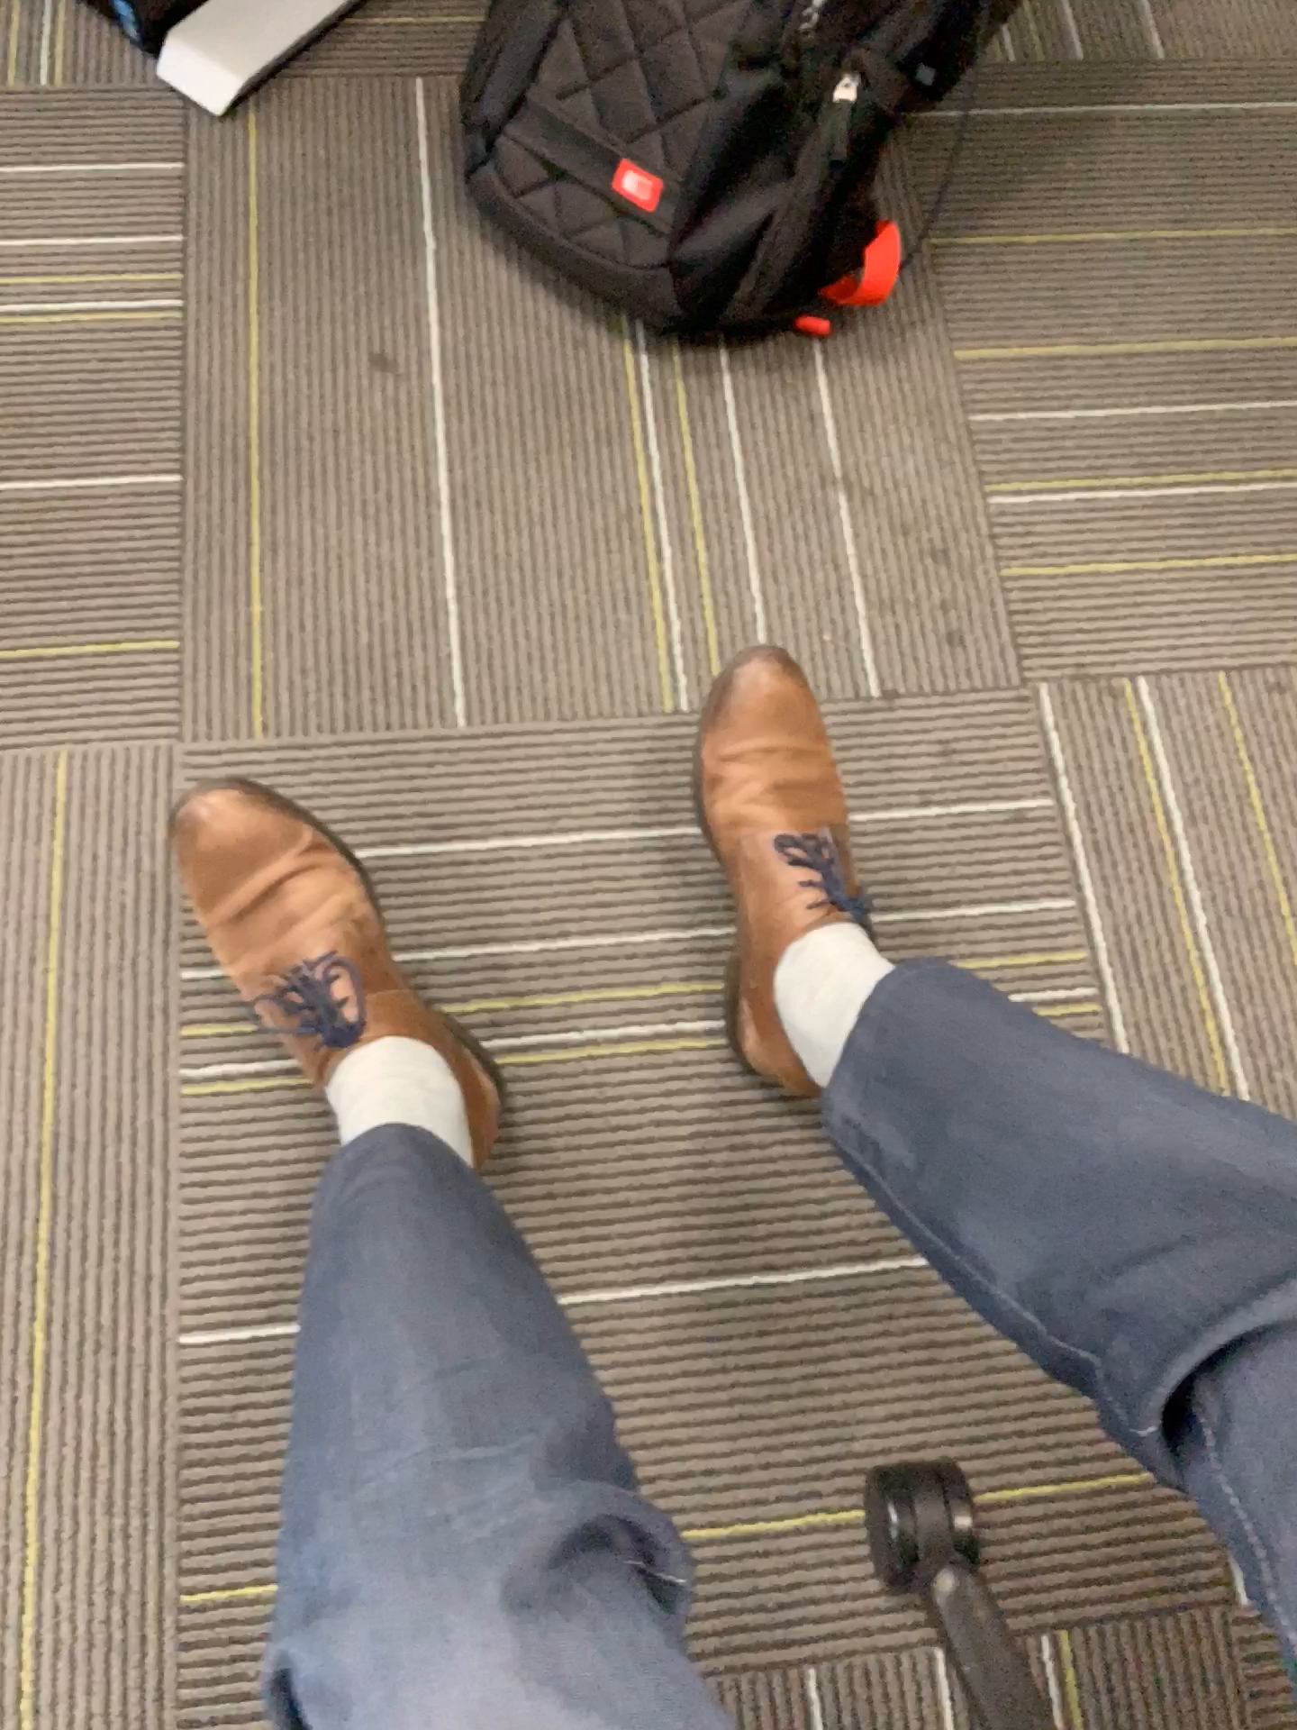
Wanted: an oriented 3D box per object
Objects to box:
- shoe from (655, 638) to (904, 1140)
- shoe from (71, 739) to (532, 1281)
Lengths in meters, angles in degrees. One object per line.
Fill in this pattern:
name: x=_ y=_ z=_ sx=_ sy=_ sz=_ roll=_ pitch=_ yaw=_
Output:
shoe: x=0.078 y=0.011 z=0.803 sx=0.103 sy=0.074 sz=0.281 roll=-5 pitch=90 yaw=-27
shoe: x=-0.188 y=0.077 z=0.762 sx=0.120 sy=0.084 sz=0.271 roll=-30 pitch=95 yaw=-1
